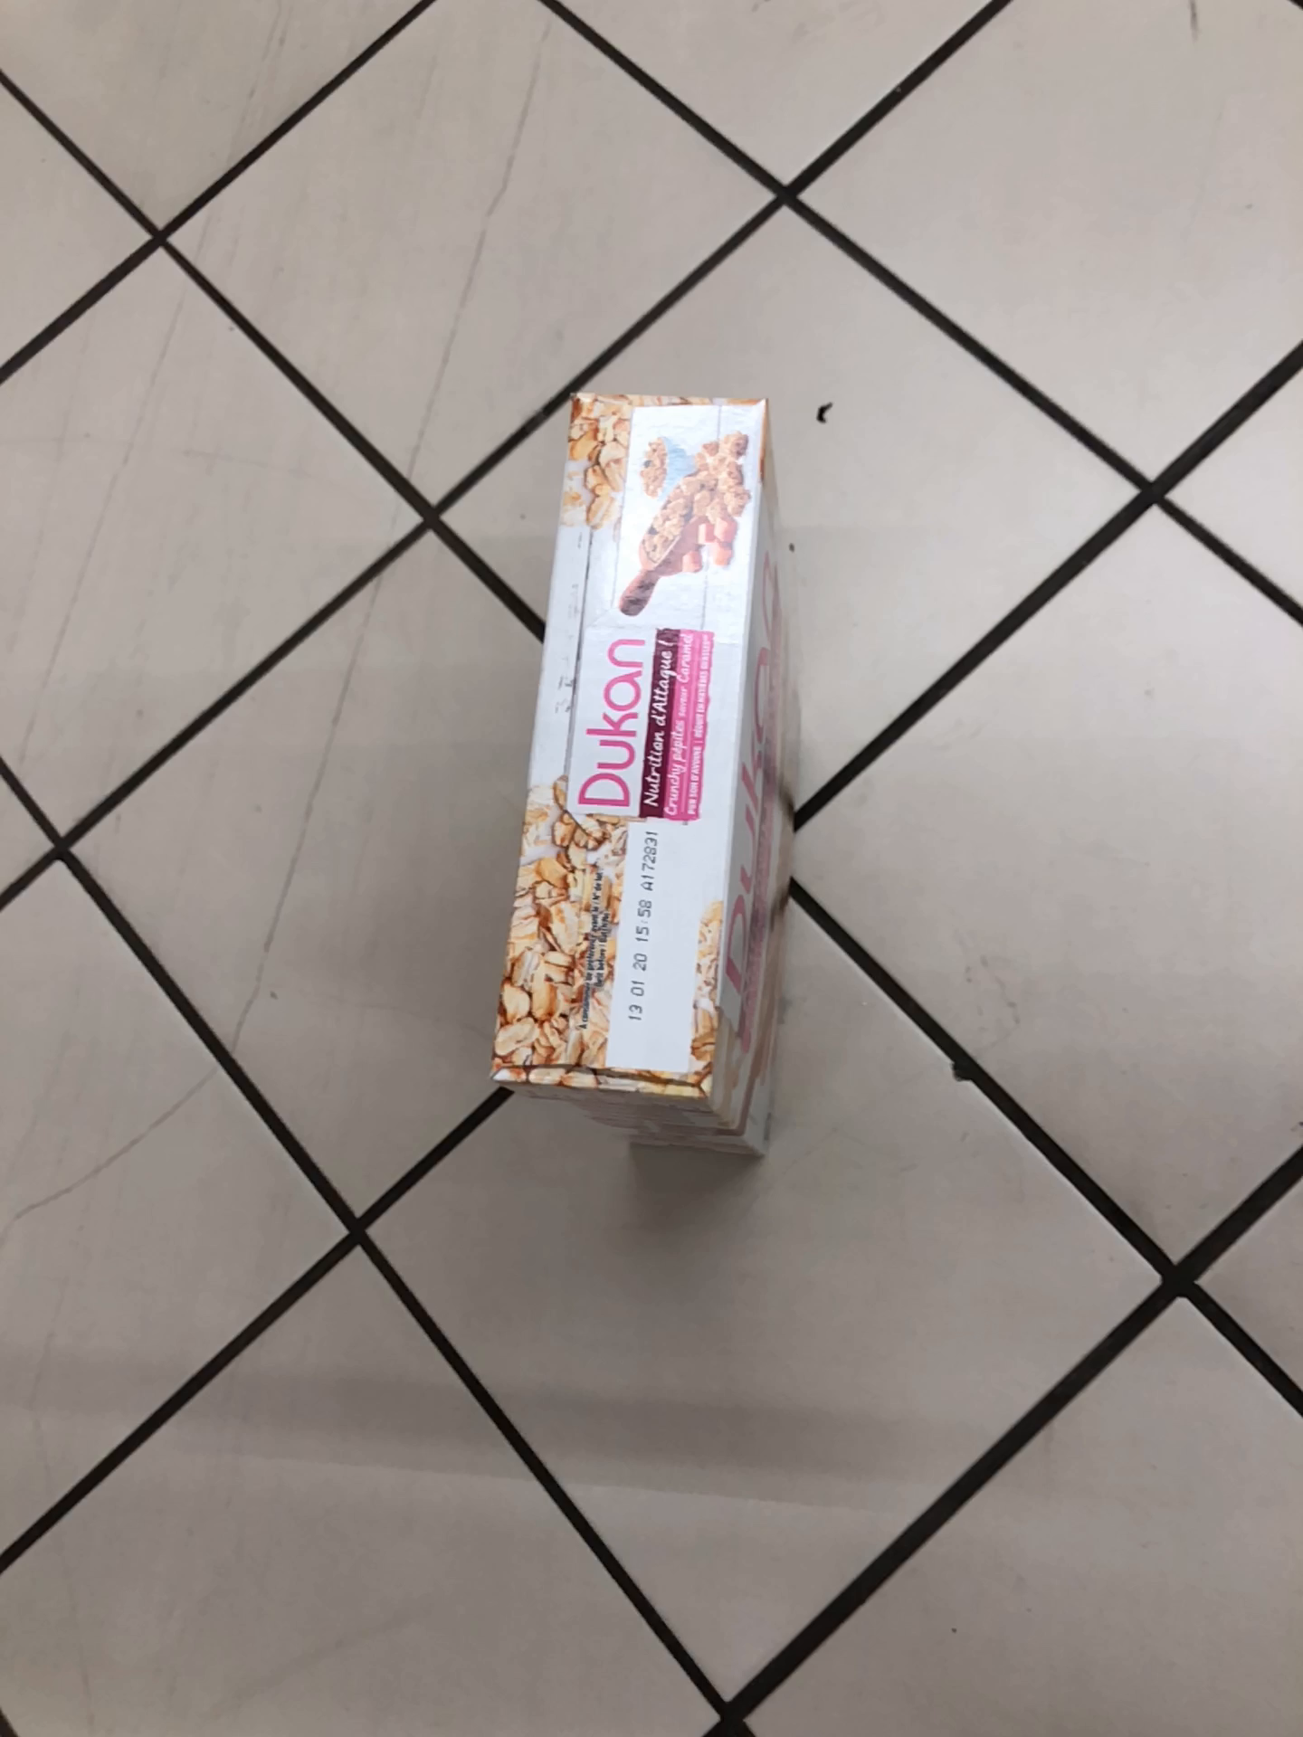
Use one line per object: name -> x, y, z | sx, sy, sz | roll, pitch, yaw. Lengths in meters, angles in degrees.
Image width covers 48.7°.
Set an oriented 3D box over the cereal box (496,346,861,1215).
cereal box -> 0.022, -0.005, 0.411 | 0.060, 0.200, 0.190 | 2, 75, 11
